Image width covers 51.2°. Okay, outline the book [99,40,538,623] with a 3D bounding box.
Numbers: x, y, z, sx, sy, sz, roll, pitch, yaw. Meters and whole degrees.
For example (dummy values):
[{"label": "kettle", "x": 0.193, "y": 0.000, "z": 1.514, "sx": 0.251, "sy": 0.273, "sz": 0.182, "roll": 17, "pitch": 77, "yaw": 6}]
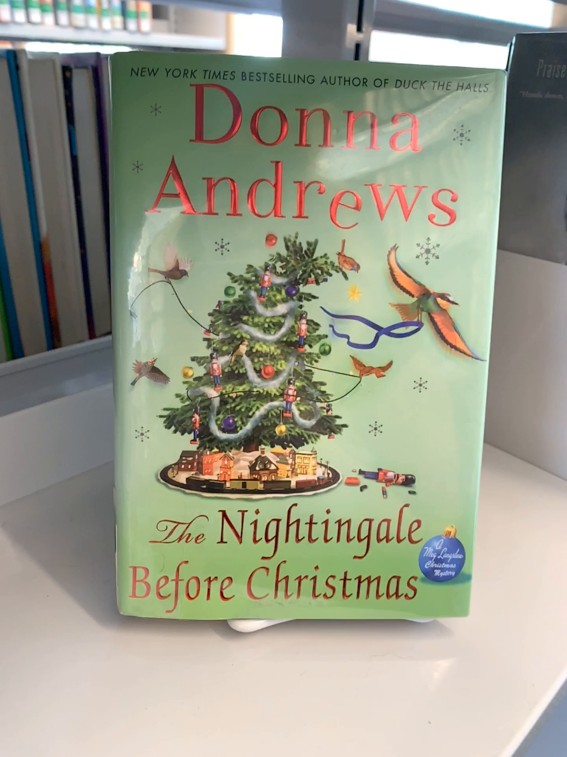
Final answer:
[{"label": "book", "x": 0.009, "y": -0.011, "z": 0.227, "sx": 0.145, "sy": 0.200, "sz": 0.040, "roll": 2, "pitch": 7, "yaw": -3}]
